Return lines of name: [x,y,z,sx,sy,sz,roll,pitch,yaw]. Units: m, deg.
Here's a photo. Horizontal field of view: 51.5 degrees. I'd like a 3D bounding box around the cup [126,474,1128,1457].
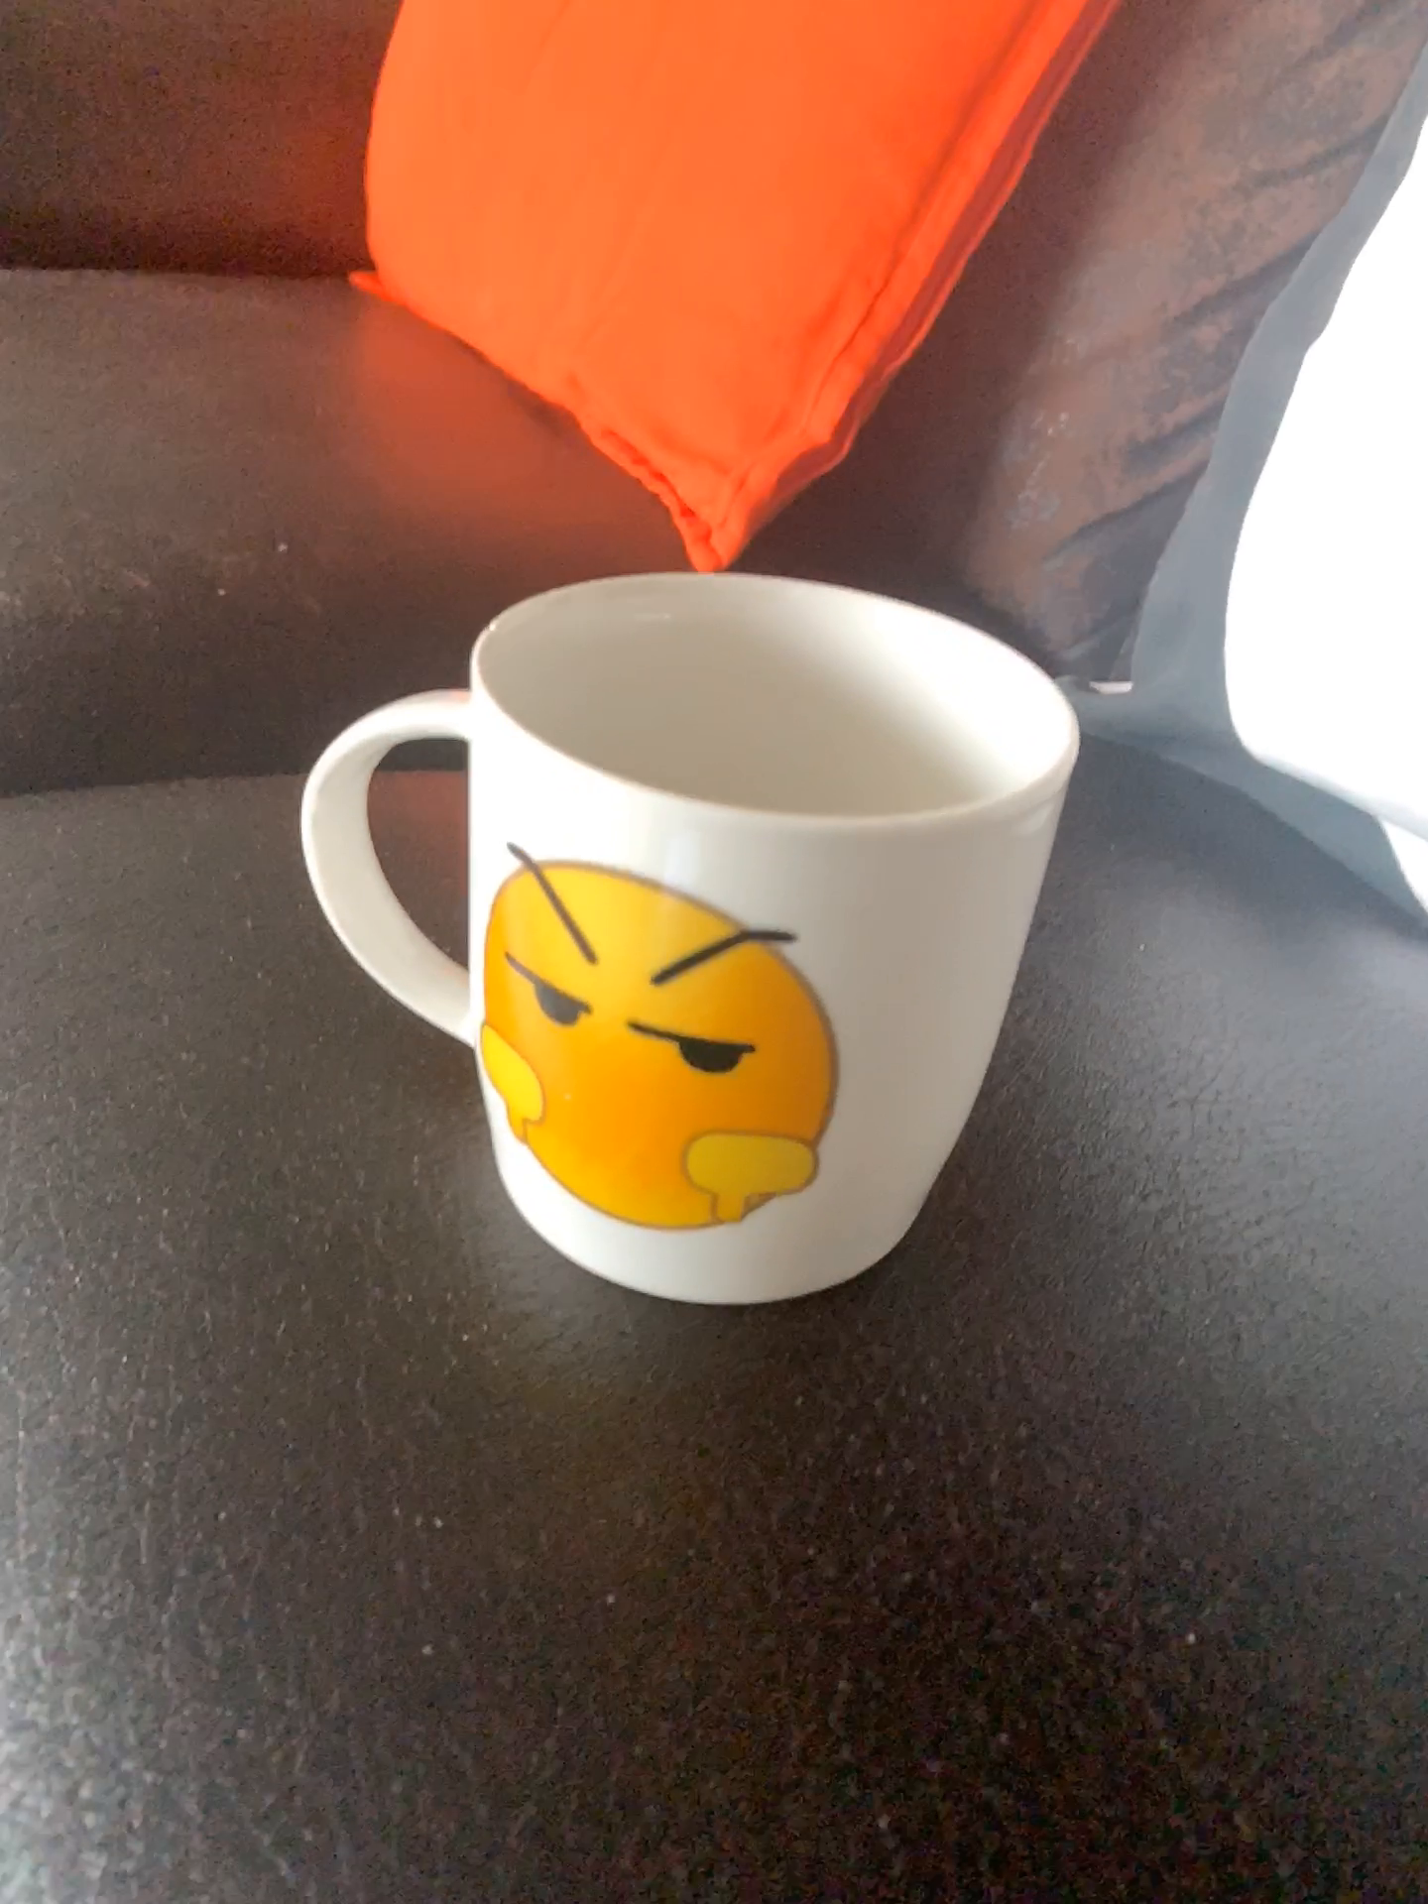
cup: [-0.013,-0.005,0.237,0.120,0.099,0.081,19,34,16]
